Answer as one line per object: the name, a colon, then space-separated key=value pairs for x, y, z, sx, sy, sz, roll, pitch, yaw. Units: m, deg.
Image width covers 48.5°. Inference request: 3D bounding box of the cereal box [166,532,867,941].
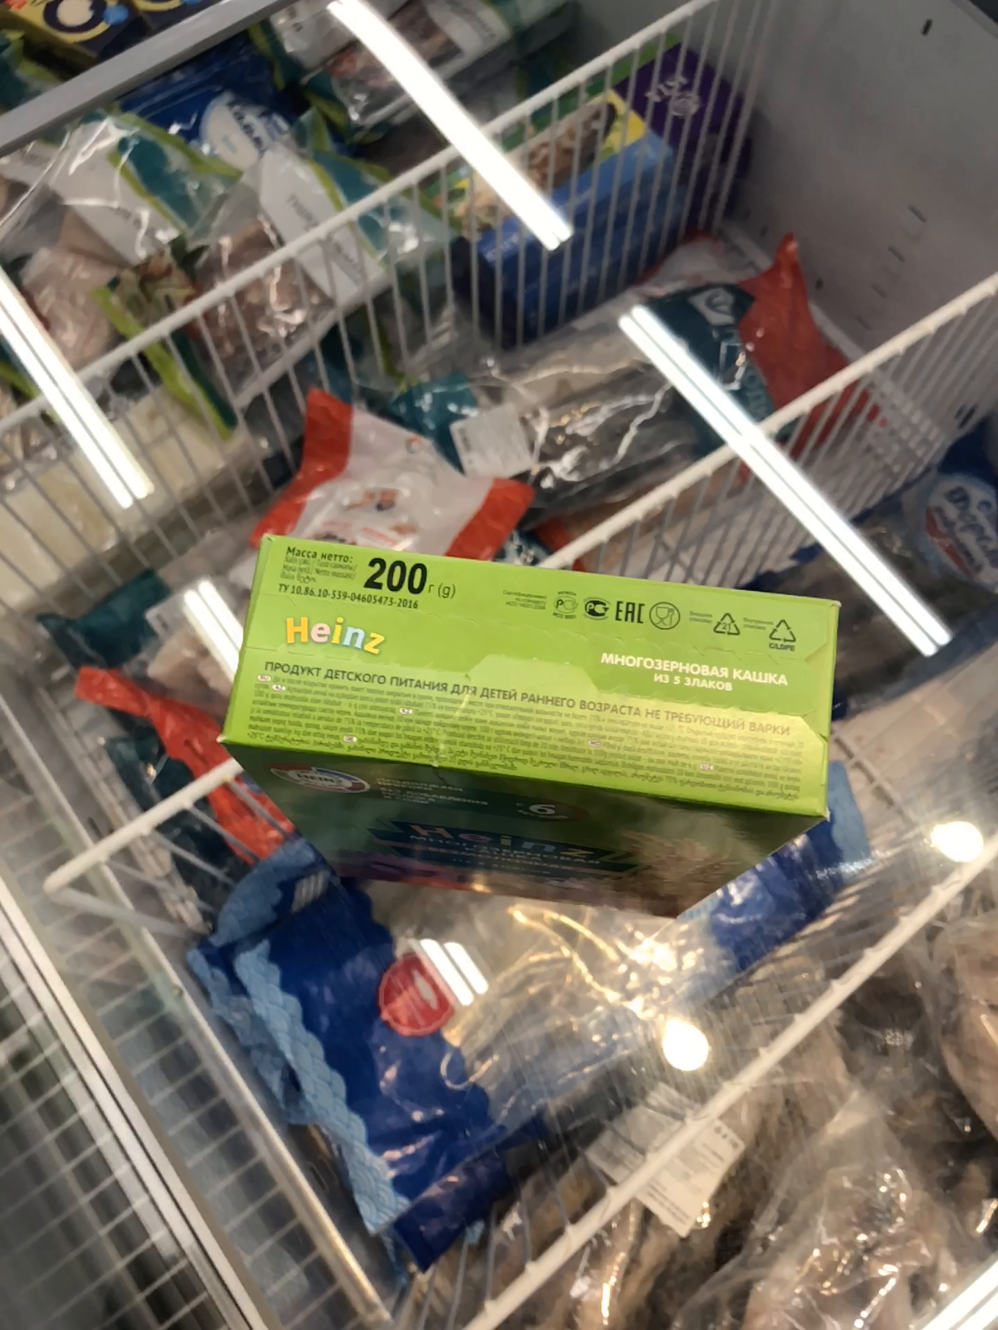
cereal box: x=0.005 y=0.036 z=0.324 sx=0.140 sy=0.200 sz=0.050 roll=7 pitch=71 yaw=3
